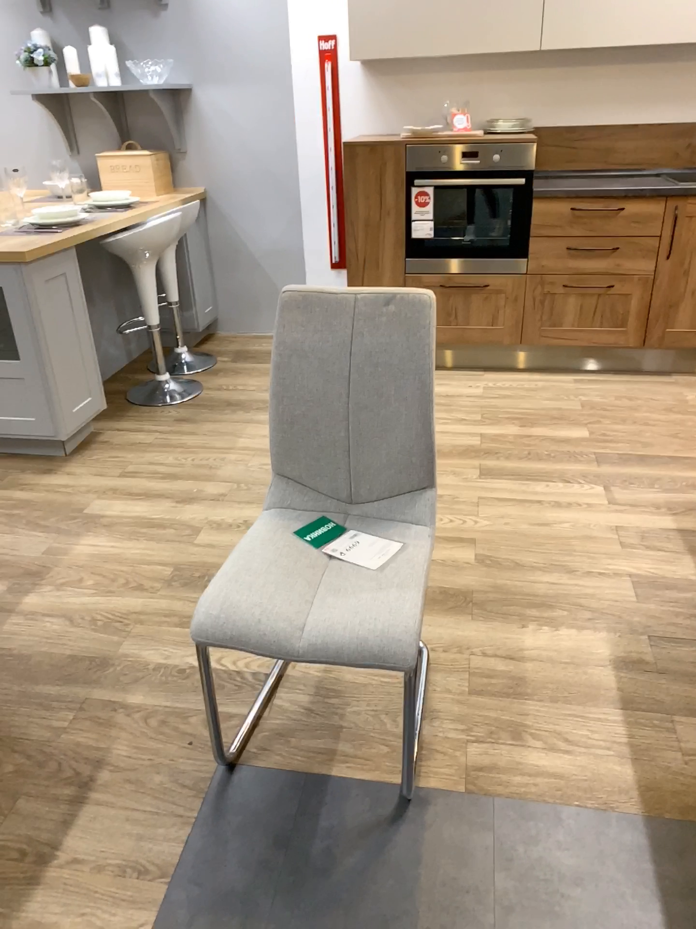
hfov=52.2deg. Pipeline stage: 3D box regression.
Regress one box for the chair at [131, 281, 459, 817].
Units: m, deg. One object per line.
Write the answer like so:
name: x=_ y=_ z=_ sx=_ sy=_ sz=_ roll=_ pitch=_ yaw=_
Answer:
chair: x=-0.040 y=0.156 z=1.582 sx=0.490 sy=0.985 sz=0.573 roll=4 pitch=27 yaw=12
